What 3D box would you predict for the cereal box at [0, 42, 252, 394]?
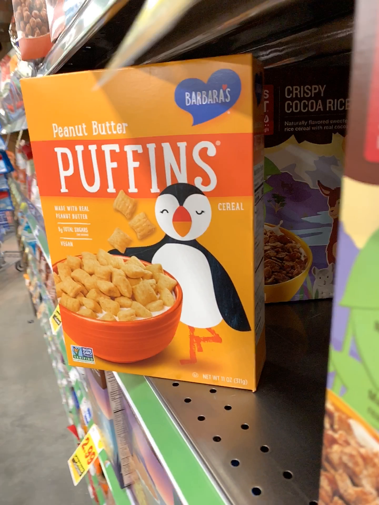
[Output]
[{"bbox_3d":[-0.057,-0.022,0.357,0.220,0.279,0.060,2,17,14],"label":"cereal box"}]
